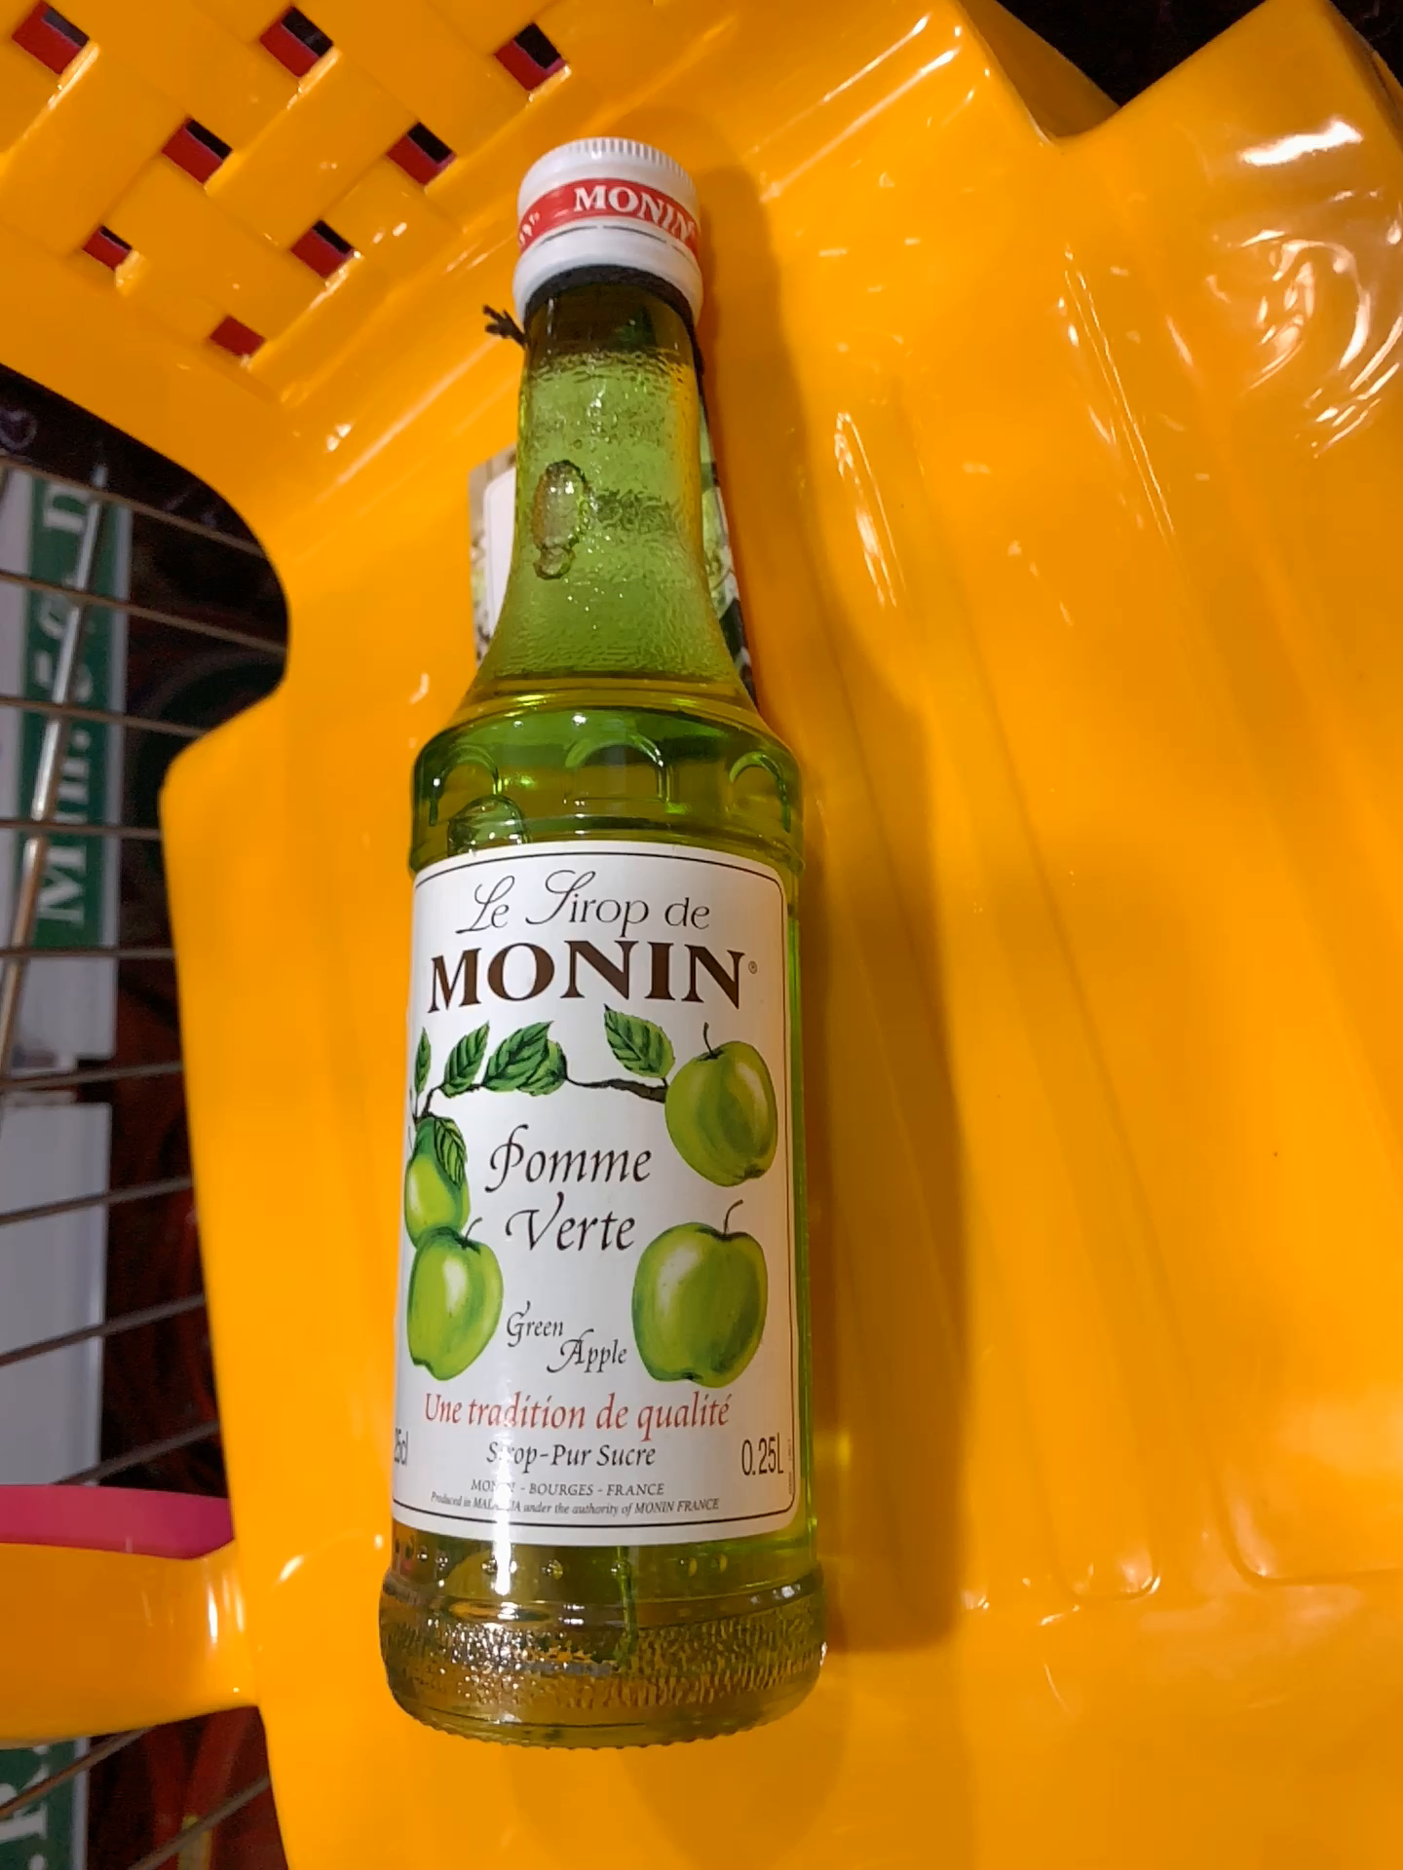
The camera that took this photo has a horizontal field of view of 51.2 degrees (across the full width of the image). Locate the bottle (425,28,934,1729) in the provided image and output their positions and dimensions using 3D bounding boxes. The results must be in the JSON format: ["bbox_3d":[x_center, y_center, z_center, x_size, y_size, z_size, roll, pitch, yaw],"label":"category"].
[{"bbox_3d":[-0.008,-0.012,0.219,0.060,0.060,0.220,135,136,-75],"label":"bottle"}]

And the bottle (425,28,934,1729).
[{"bbox_3d":[-0.008,-0.012,0.219,0.060,0.060,0.220,135,136,-75],"label":"bottle"}]
